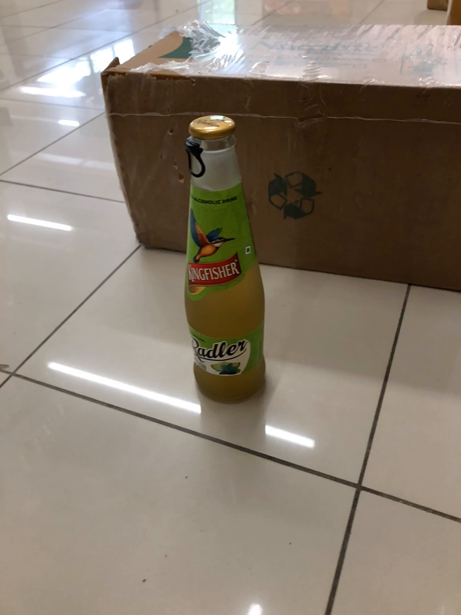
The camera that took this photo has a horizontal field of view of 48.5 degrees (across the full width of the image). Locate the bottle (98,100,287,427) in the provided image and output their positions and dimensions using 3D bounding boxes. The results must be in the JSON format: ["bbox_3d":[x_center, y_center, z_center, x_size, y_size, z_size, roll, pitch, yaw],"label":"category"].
[{"bbox_3d":[-0.013,-0.023,0.346,0.080,0.199,0.081,-2,39,2],"label":"bottle"}]
